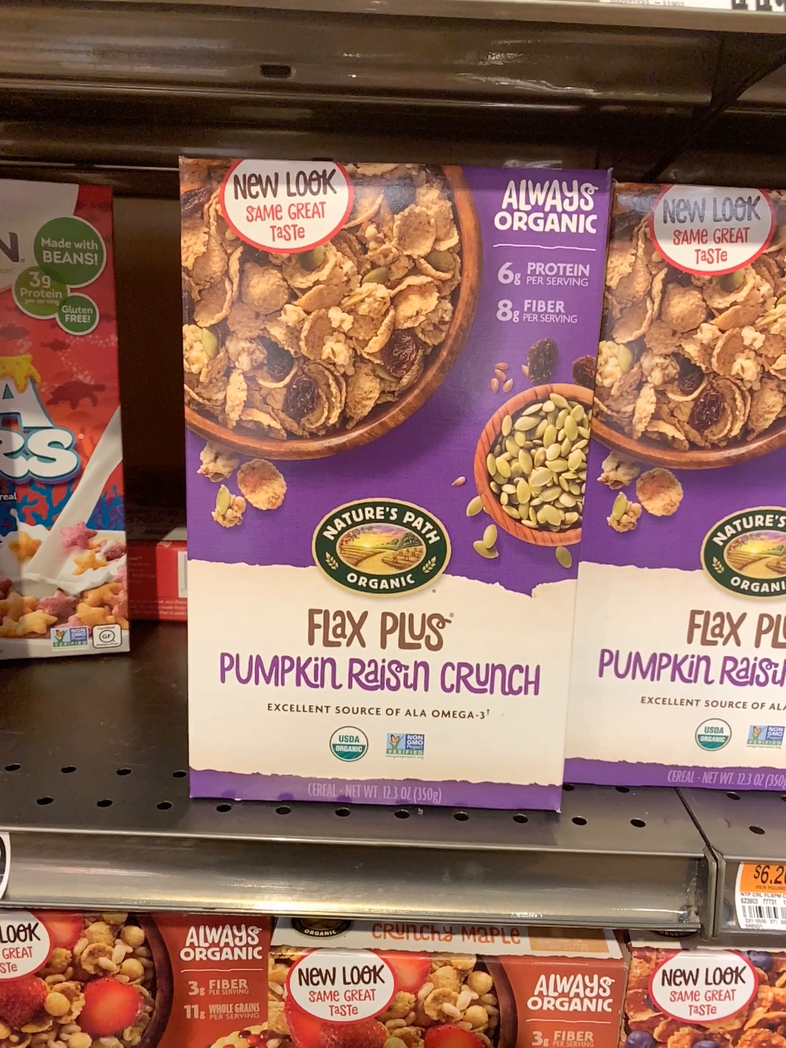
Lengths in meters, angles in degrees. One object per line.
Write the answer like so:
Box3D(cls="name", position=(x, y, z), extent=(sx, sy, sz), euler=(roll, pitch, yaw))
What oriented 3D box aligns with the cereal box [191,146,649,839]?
Box3D(cls="cereal box", position=(0.005, -0.009, 0.345), extent=(0.170, 0.269, 0.050), euler=(2, 9, 1))
